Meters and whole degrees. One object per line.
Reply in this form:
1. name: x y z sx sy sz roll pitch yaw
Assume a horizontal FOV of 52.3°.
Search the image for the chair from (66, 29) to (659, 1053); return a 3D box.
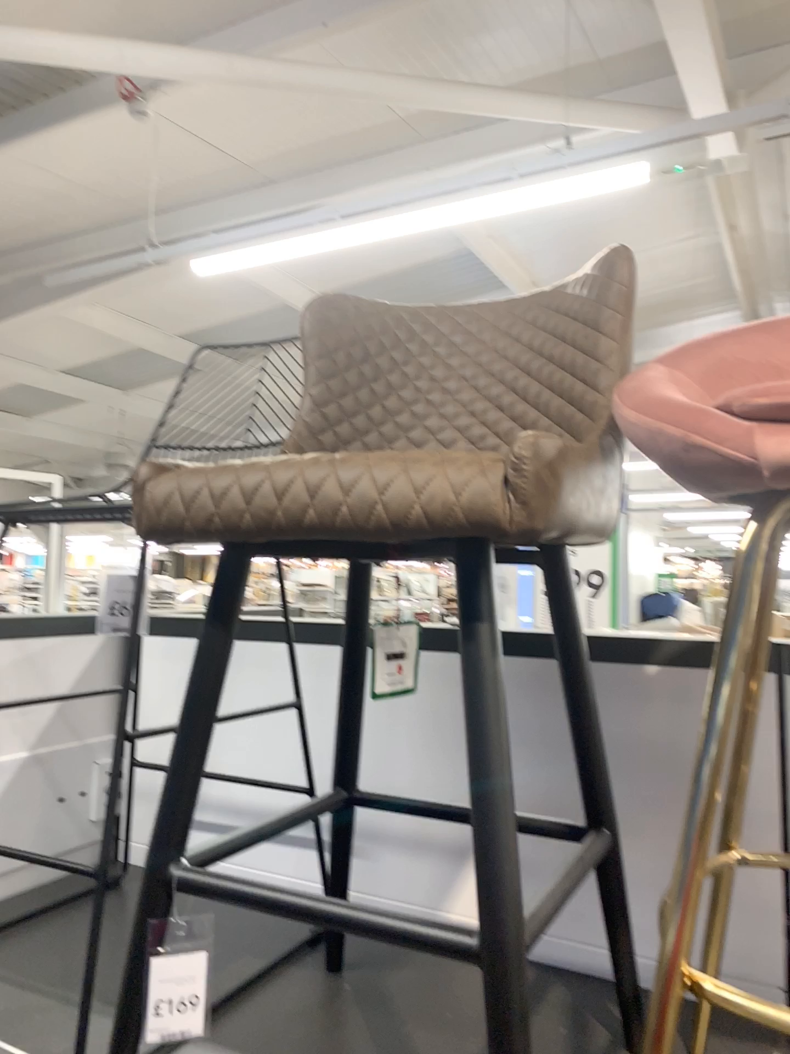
1. chair: 0.007 0.103 0.940 0.535 0.997 0.465 -1 -2 21
